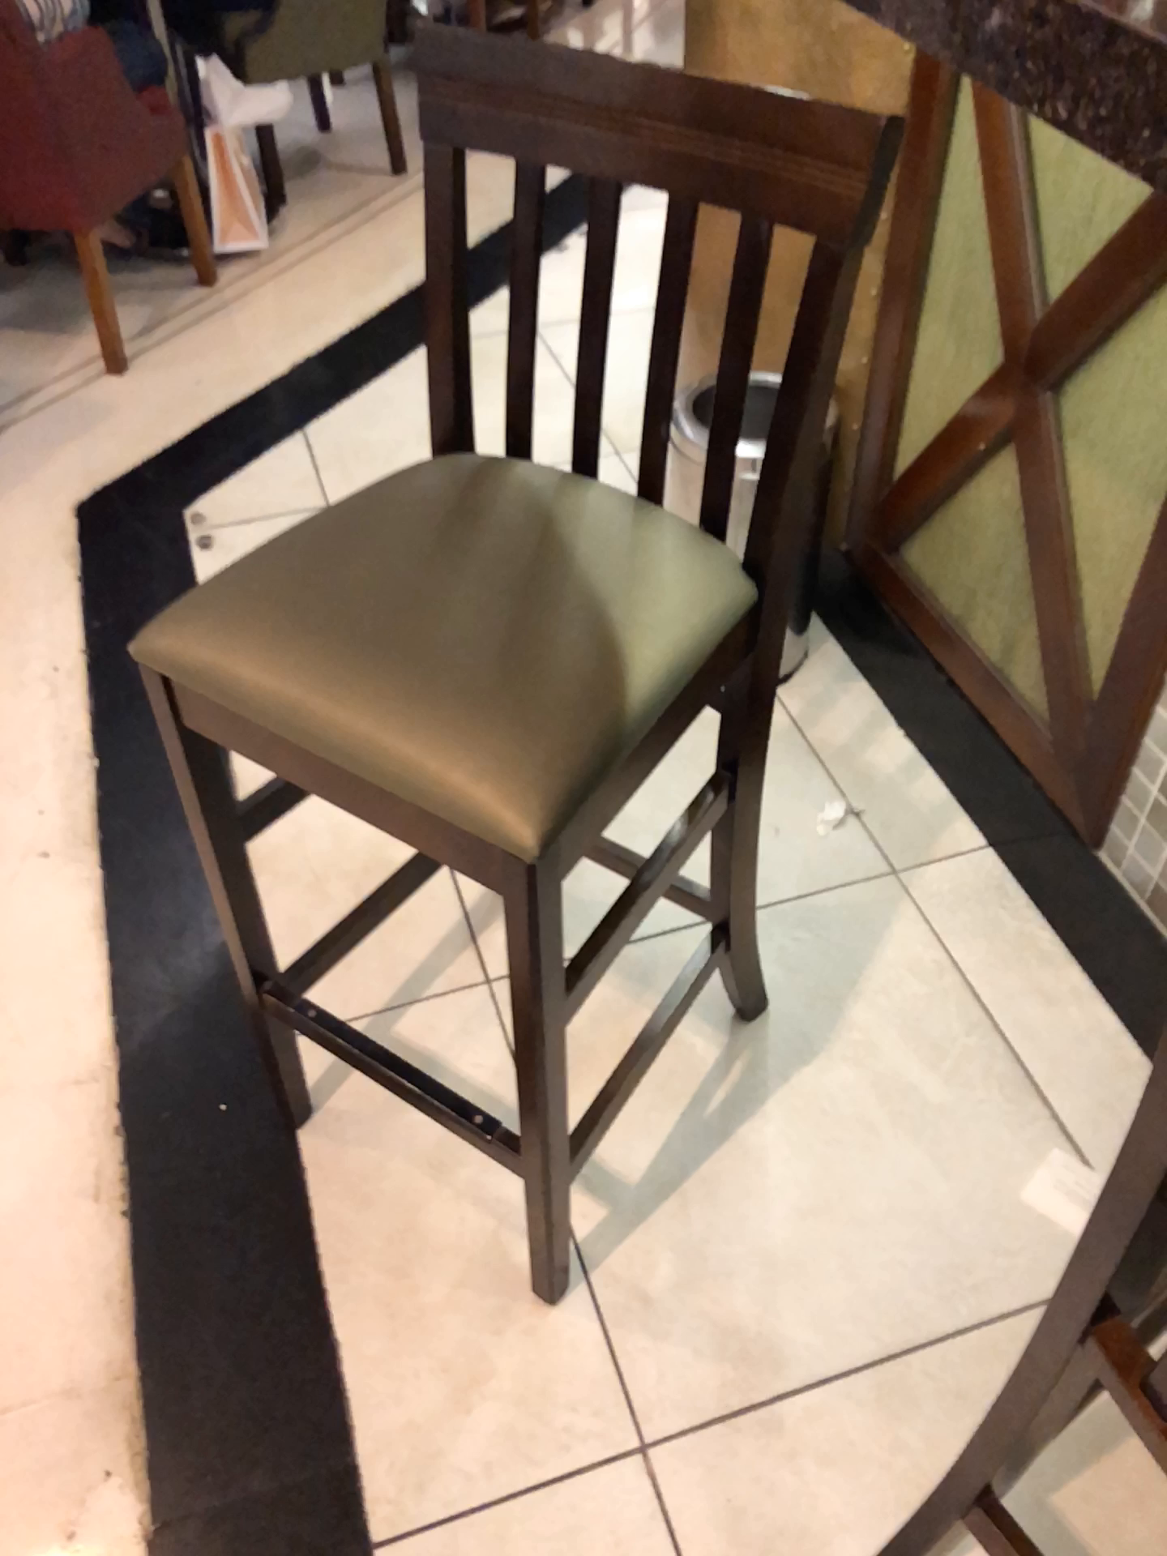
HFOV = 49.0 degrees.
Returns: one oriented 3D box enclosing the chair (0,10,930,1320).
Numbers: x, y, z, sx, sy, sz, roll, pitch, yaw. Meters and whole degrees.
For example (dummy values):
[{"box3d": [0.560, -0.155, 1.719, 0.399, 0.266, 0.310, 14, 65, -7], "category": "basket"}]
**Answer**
[{"box3d": [-0.080, -0.044, 1.199, 0.461, 1.033, 0.493, 25, 50, 24], "category": "chair"}]
